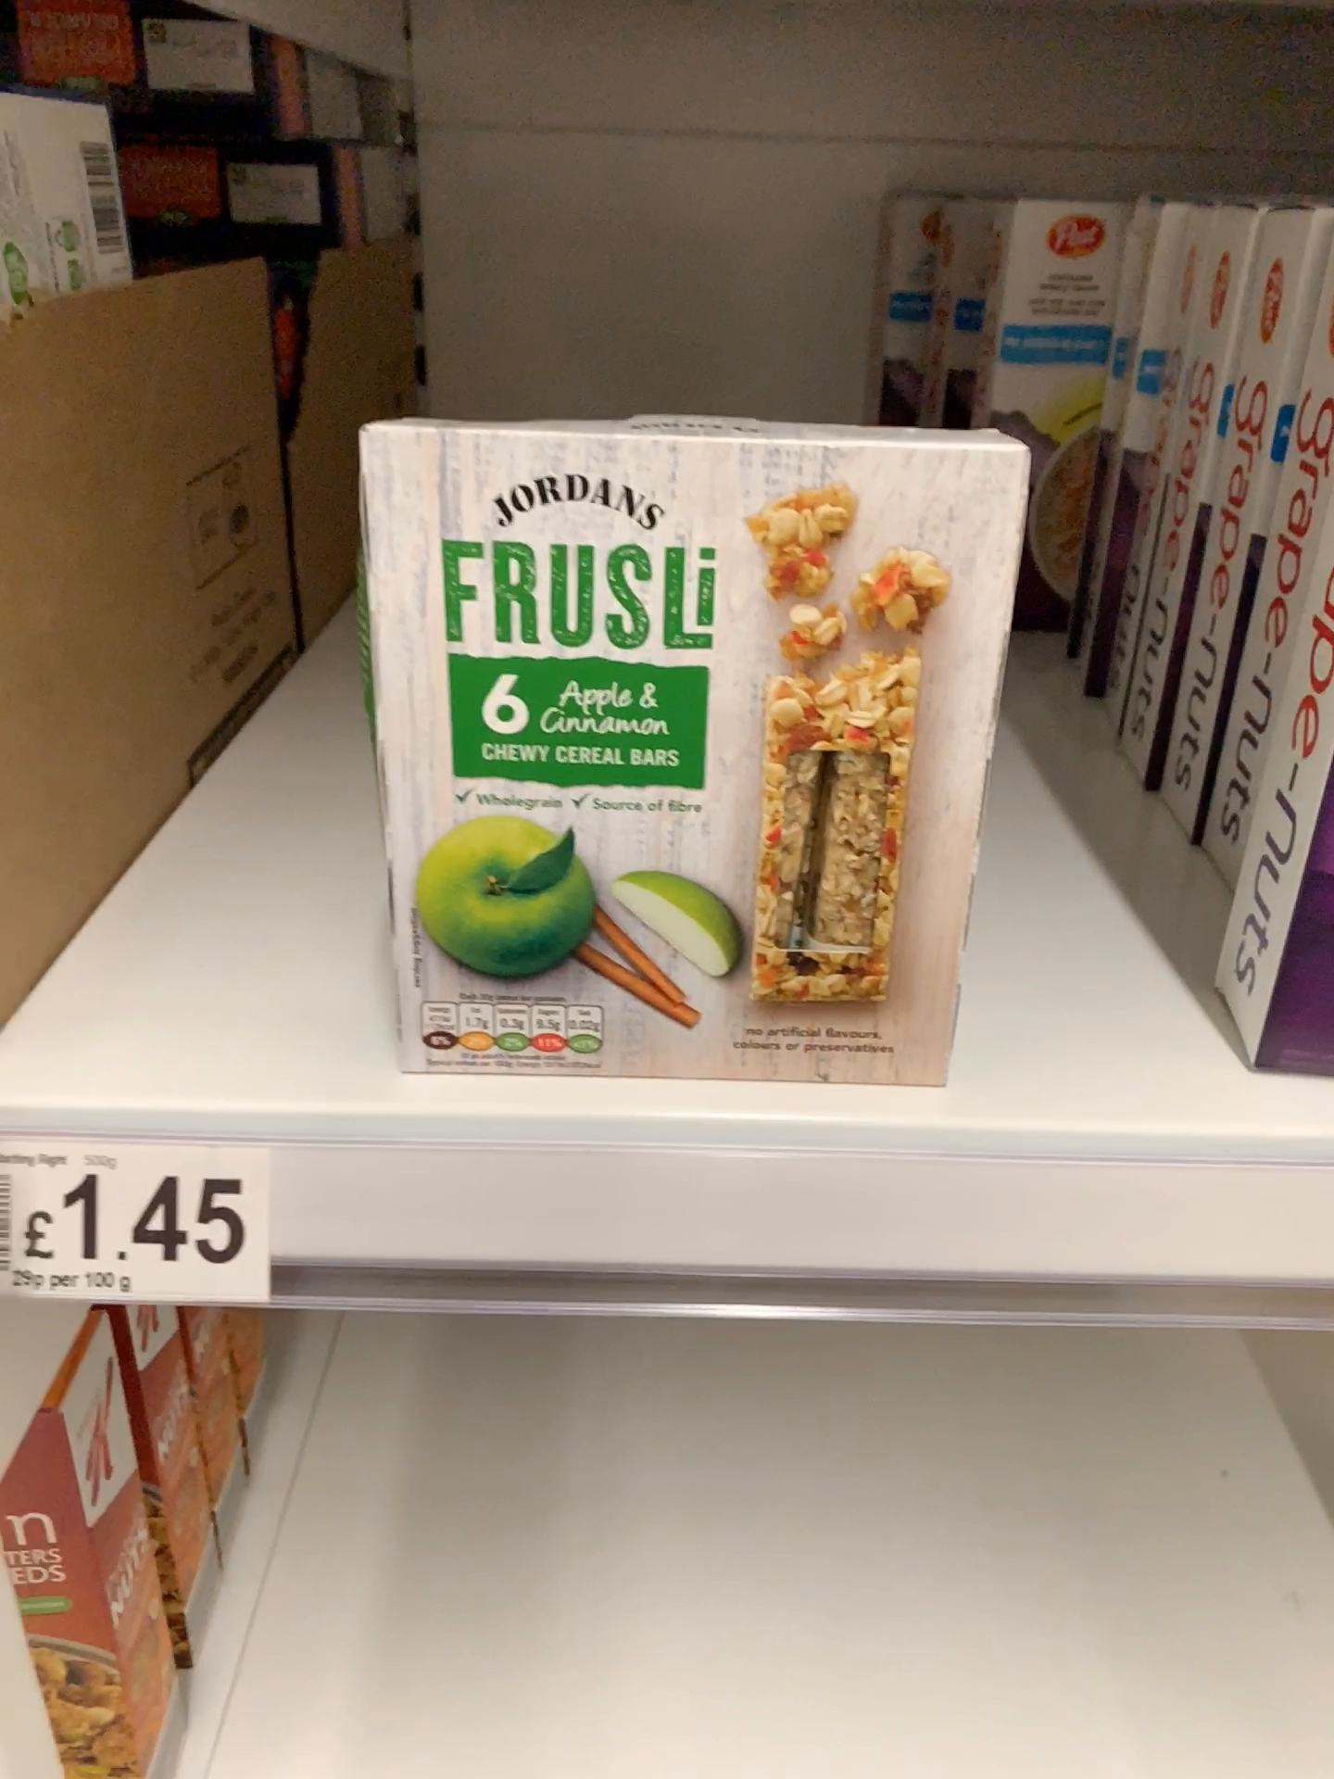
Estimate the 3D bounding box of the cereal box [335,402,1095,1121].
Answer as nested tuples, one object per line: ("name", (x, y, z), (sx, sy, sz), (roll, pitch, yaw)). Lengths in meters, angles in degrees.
("cereal box", (0.007, -0.027, 0.330), (0.150, 0.159, 0.050), (1, 26, -1))
